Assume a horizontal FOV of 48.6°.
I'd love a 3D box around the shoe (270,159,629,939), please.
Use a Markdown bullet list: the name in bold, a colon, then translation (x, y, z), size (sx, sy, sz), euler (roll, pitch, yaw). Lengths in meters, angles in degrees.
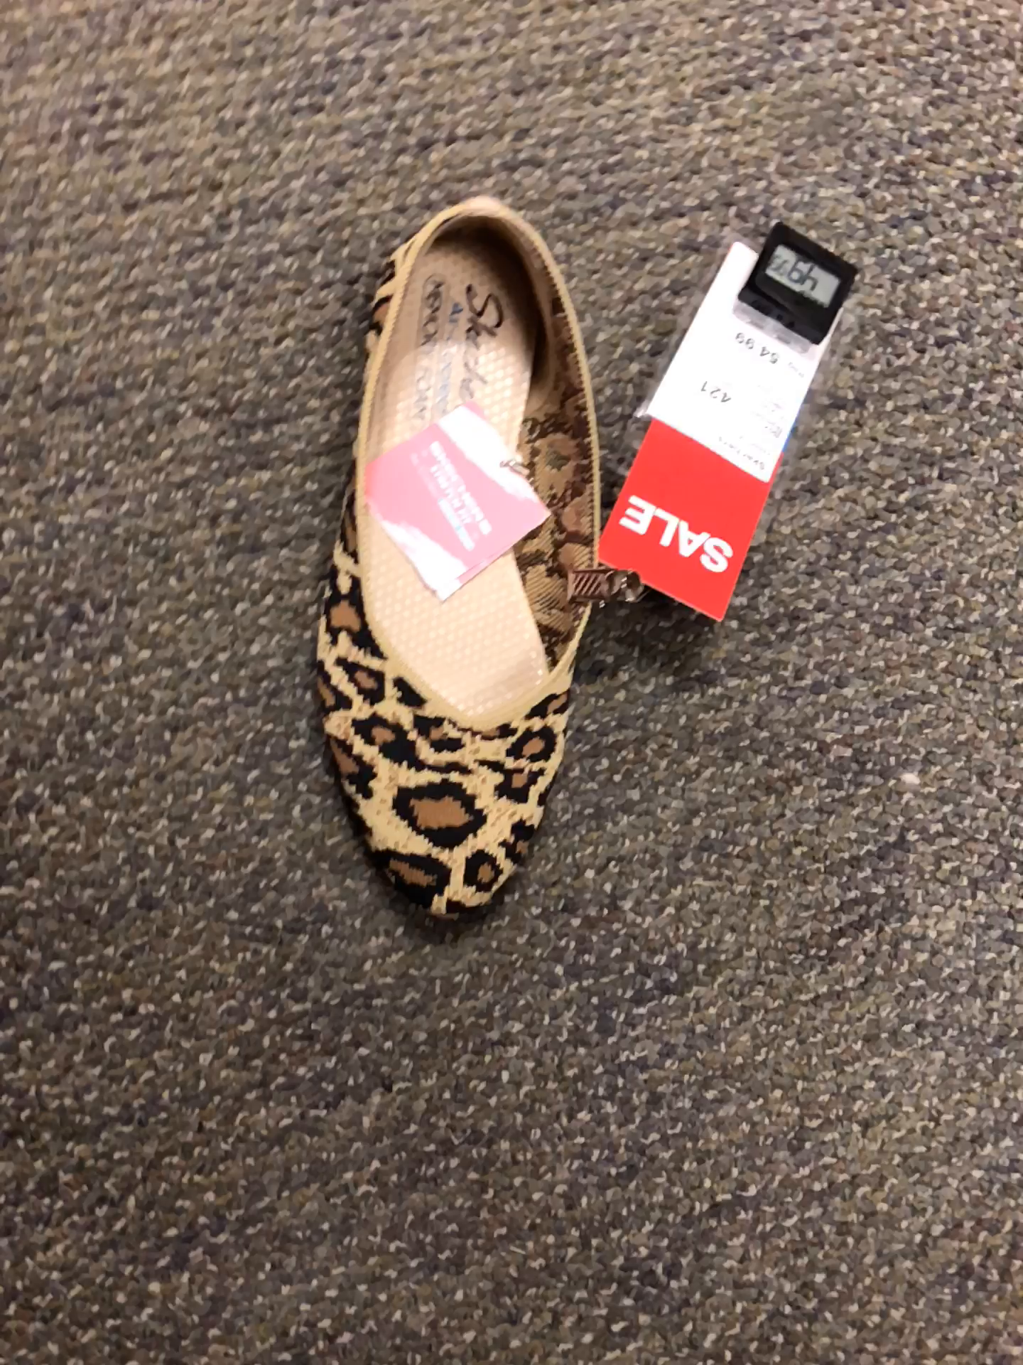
- **shoe**: translation (-0.020, -0.039, 0.367), size (0.104, 0.056, 0.232), euler (1, 85, -8)
